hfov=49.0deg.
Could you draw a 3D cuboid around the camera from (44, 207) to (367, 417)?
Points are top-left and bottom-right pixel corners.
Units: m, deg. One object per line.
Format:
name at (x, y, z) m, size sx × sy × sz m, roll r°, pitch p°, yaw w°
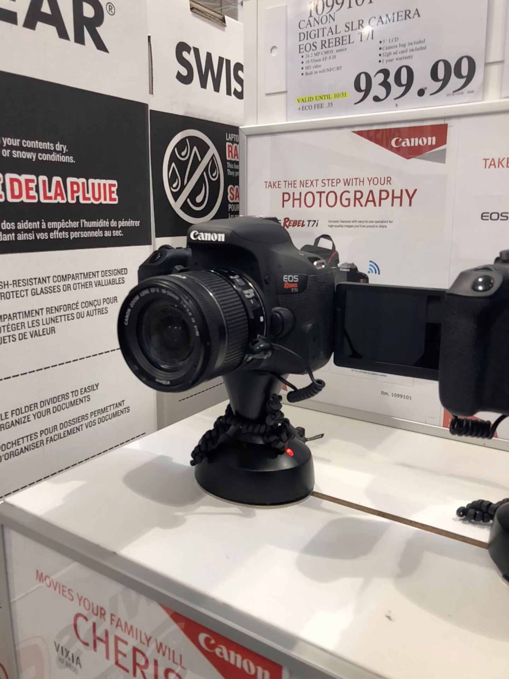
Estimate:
camera at (-0.023, -0.033, 0.361) m, size 0.140 × 0.100 × 0.150 m, roll 8°, pitch 14°, yaw 31°
